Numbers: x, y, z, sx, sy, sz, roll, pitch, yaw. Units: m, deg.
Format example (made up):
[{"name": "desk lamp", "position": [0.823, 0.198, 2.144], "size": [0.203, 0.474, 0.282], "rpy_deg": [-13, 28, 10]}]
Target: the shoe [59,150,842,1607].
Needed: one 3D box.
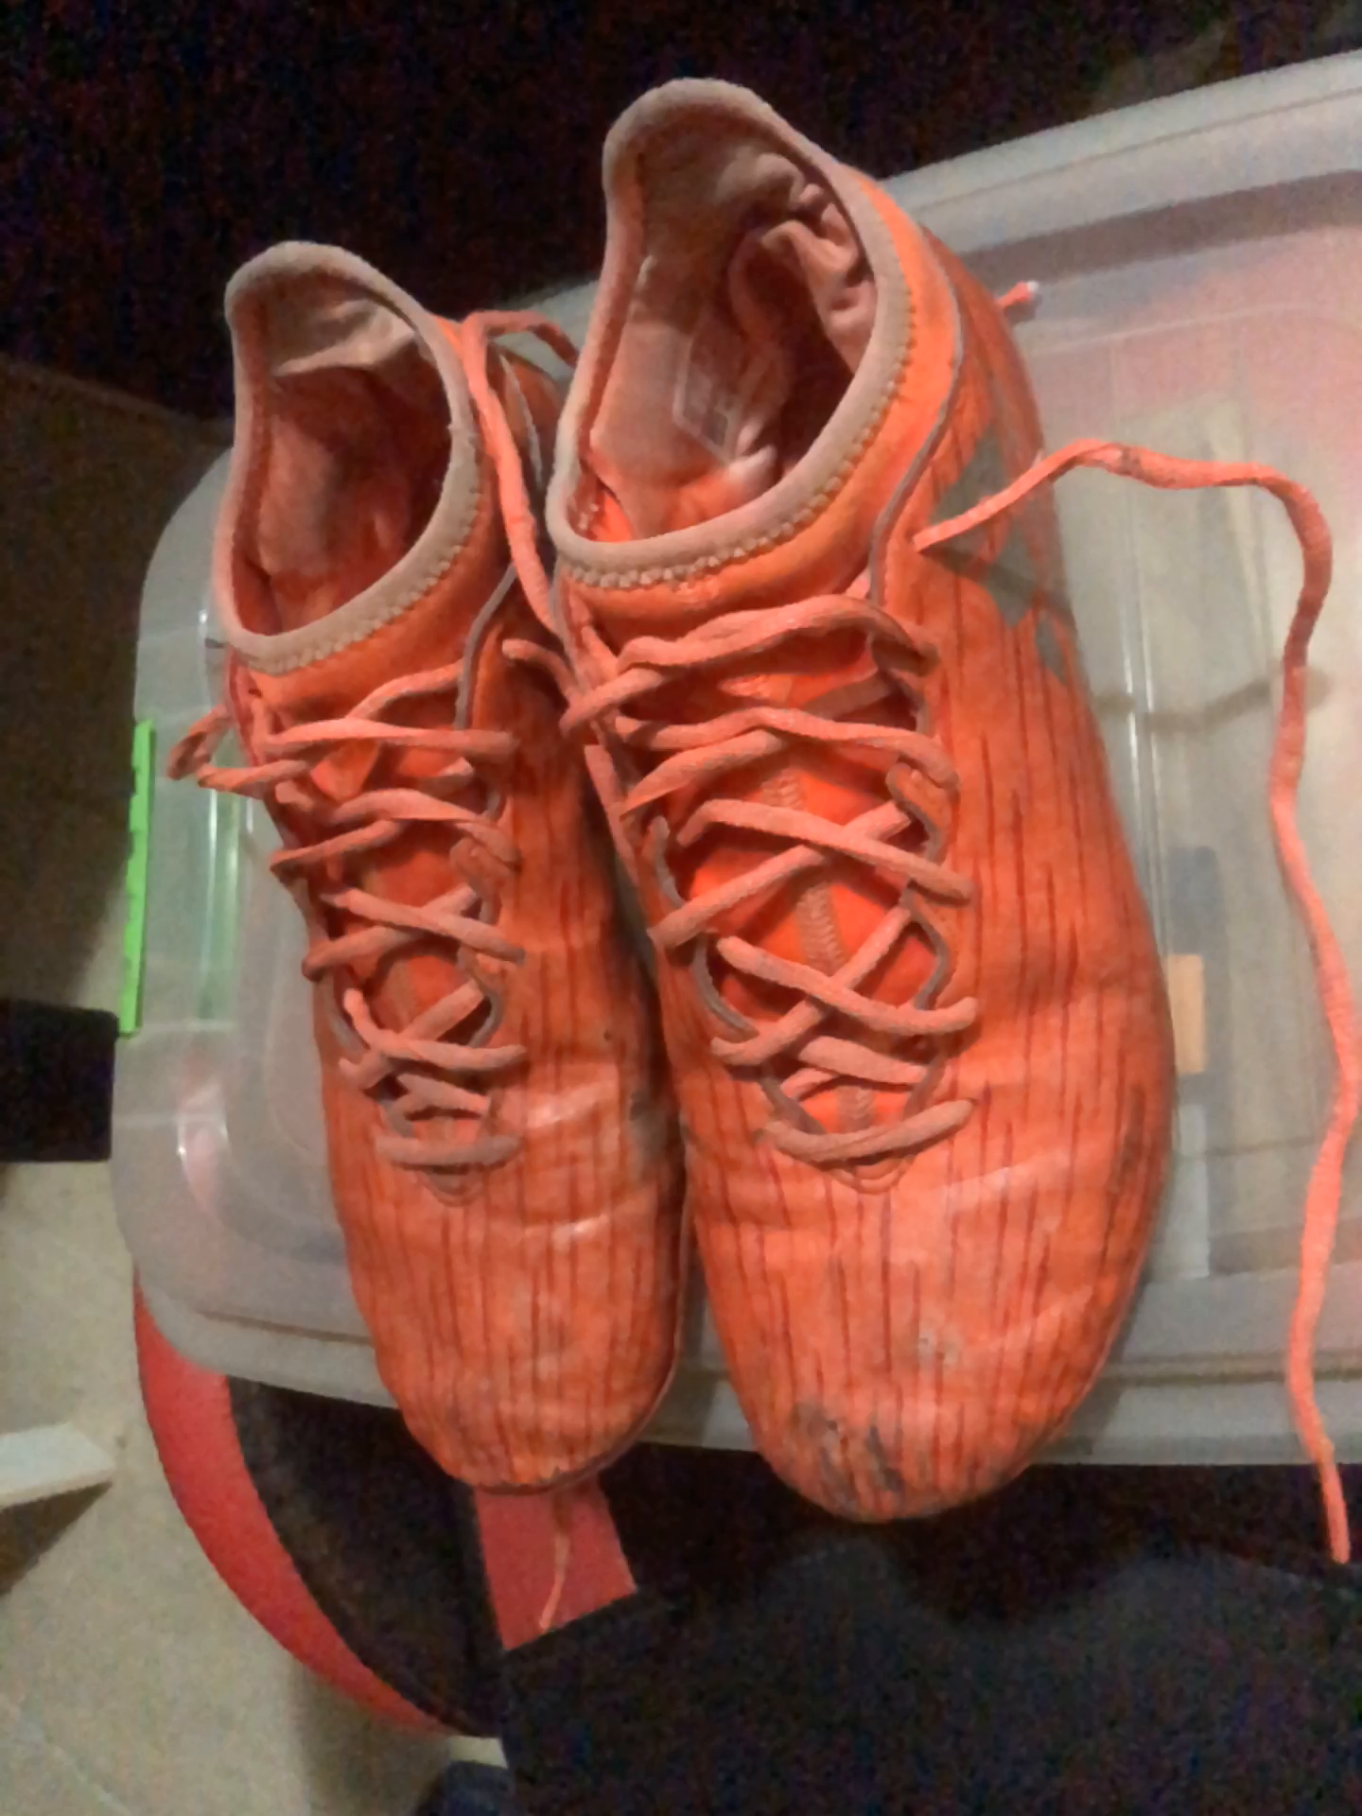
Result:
[{"name": "shoe", "position": [-0.045, 0.000, 0.319], "size": [0.090, 0.130, 0.240], "rpy_deg": [-11, 76, 27]}]

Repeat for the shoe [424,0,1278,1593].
[{"name": "shoe", "position": [0.034, -0.019, 0.281], "size": [0.090, 0.130, 0.240], "rpy_deg": [-11, 76, 27]}]
